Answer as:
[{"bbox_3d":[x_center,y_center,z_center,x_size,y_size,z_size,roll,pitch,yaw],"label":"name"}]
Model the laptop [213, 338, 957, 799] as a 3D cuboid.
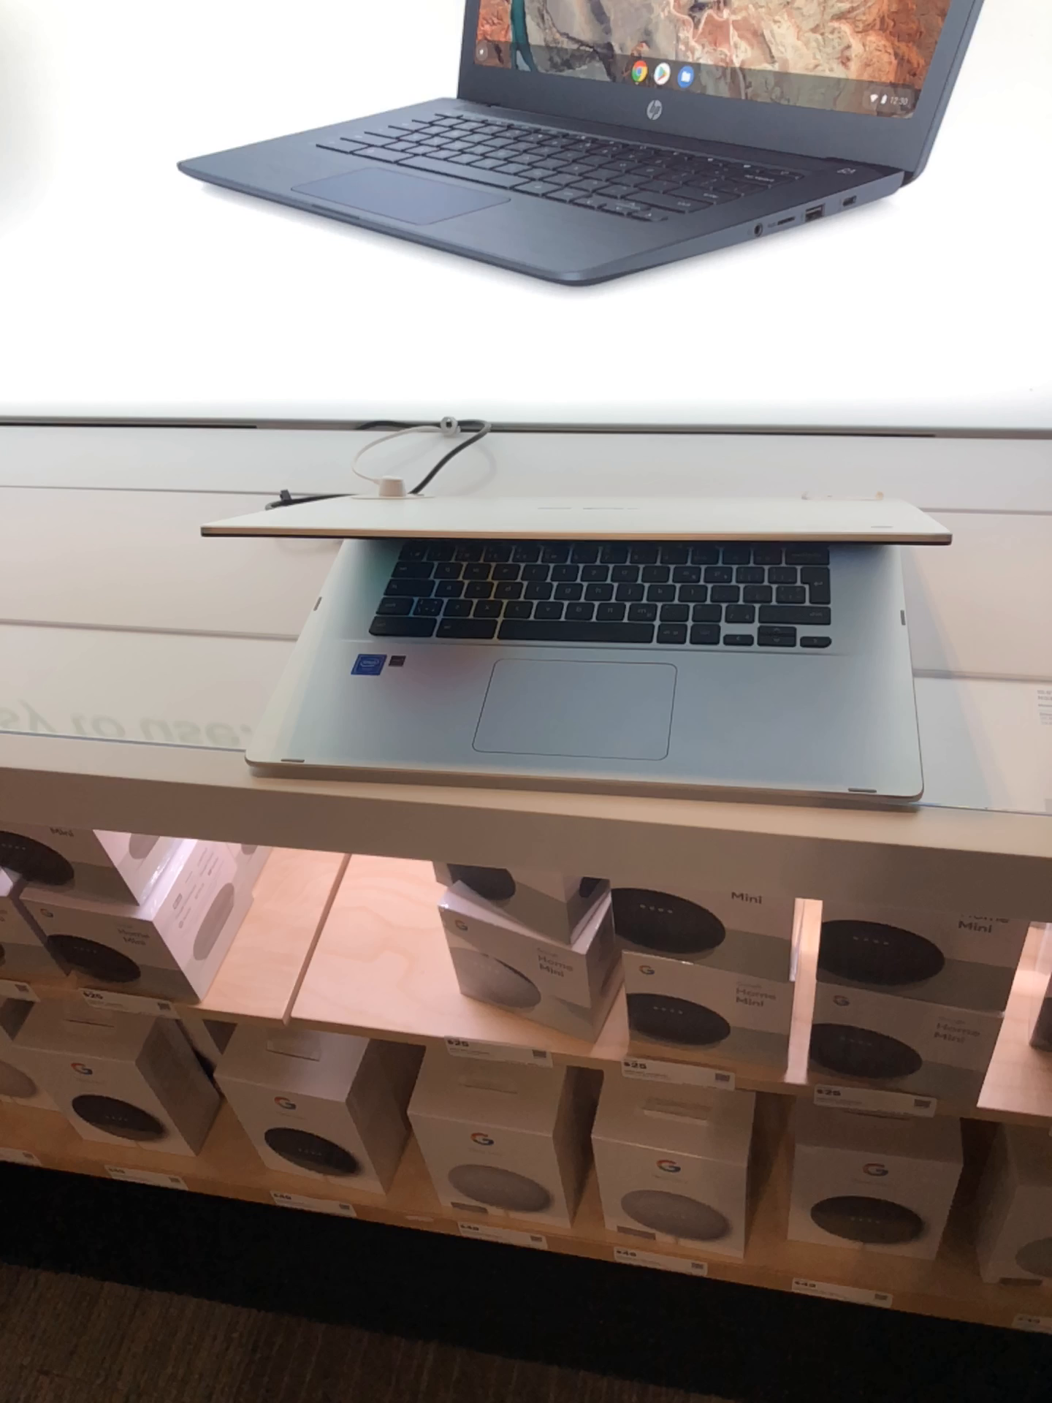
[{"bbox_3d":[0.037,-0.084,0.631,0.341,0.113,0.222,3,46,14],"label":"laptop"}]
